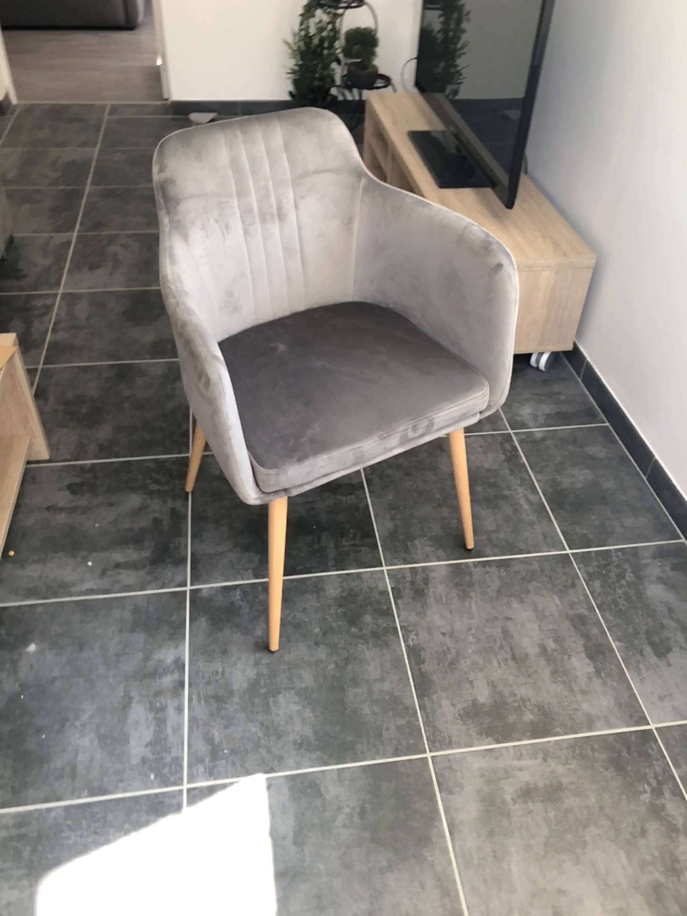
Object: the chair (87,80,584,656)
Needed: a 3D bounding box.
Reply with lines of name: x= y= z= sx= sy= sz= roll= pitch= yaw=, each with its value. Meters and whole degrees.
chair: x=-0.044 y=-0.192 z=1.491 sx=0.592 sy=0.825 sz=0.581 roll=-21 pitch=46 yaw=-25
